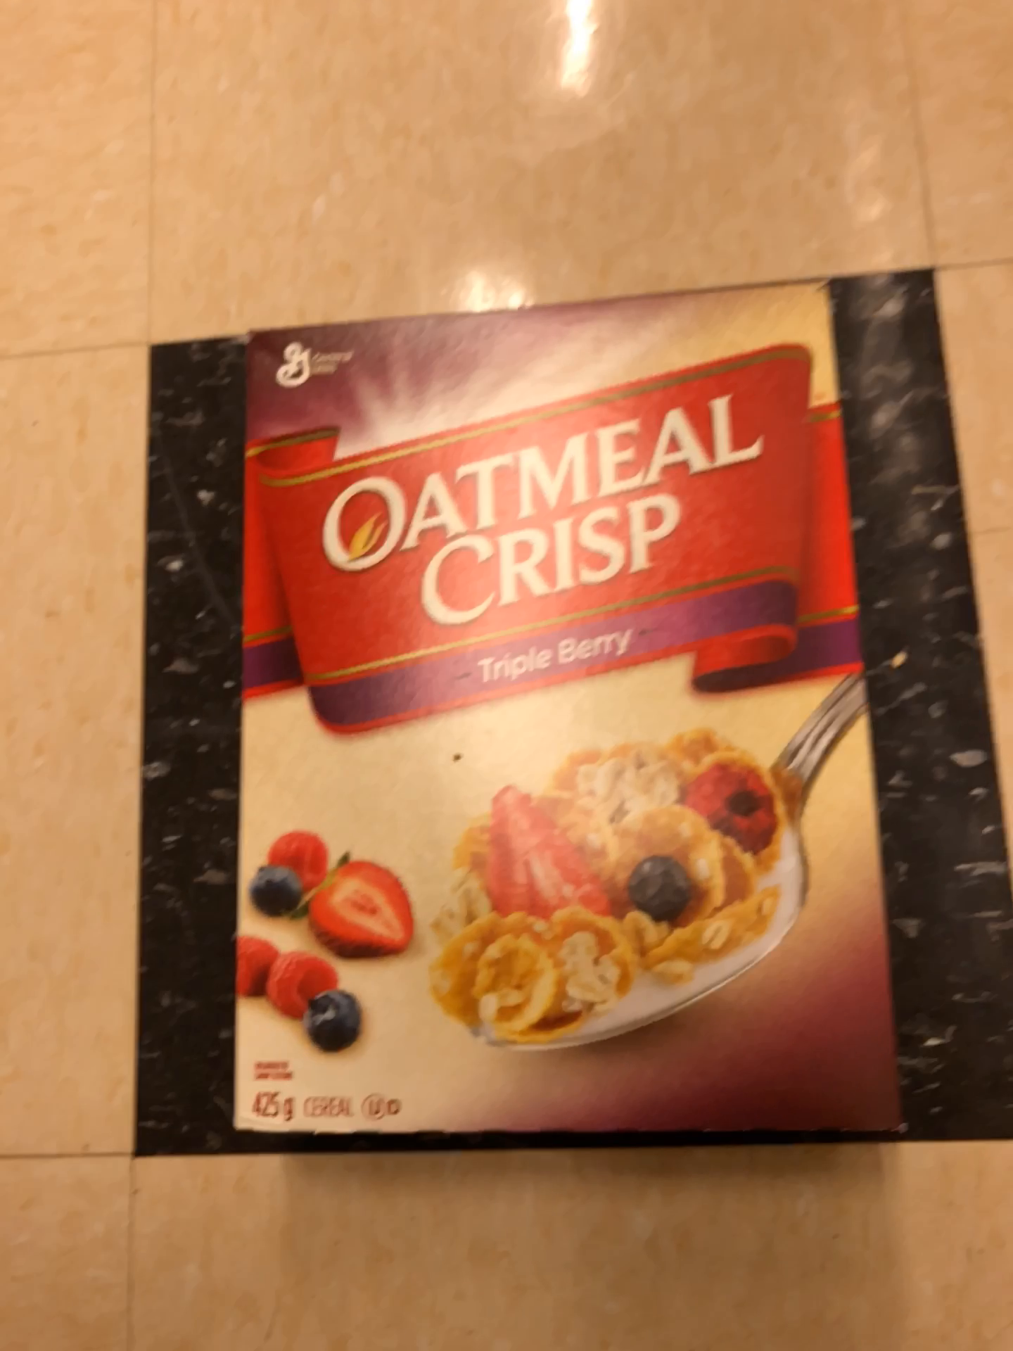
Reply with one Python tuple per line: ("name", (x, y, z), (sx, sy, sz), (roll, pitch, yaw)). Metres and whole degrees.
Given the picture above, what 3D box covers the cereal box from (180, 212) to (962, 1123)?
("cereal box", (0.013, -0.001, 0.347), (0.200, 0.070, 0.250), (-3, 77, 7))
